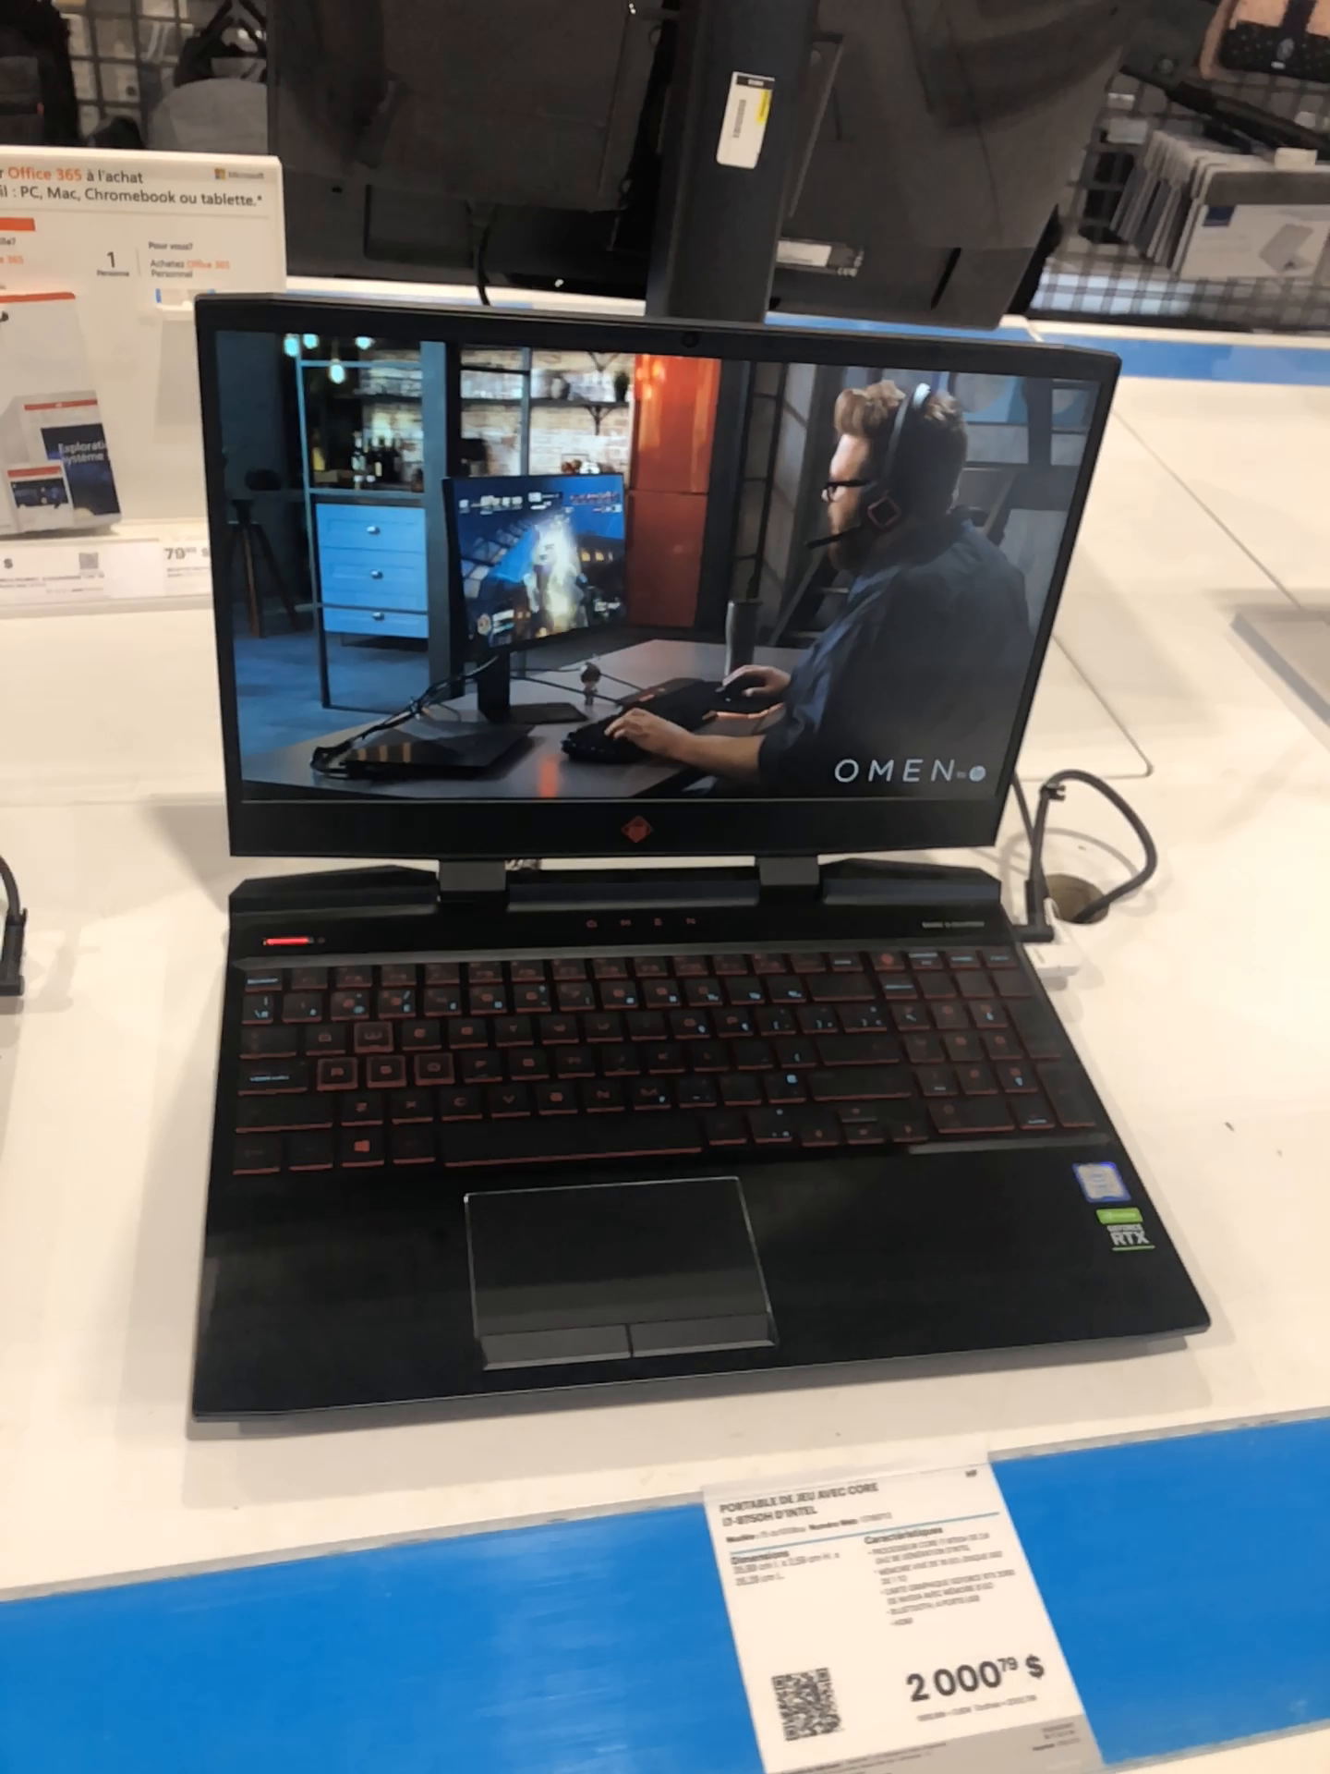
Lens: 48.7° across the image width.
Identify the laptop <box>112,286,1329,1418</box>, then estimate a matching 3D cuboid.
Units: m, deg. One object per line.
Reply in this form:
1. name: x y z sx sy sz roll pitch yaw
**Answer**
1. laptop: 0.016 -0.028 0.535 0.355 0.239 0.294 -1 42 -13
